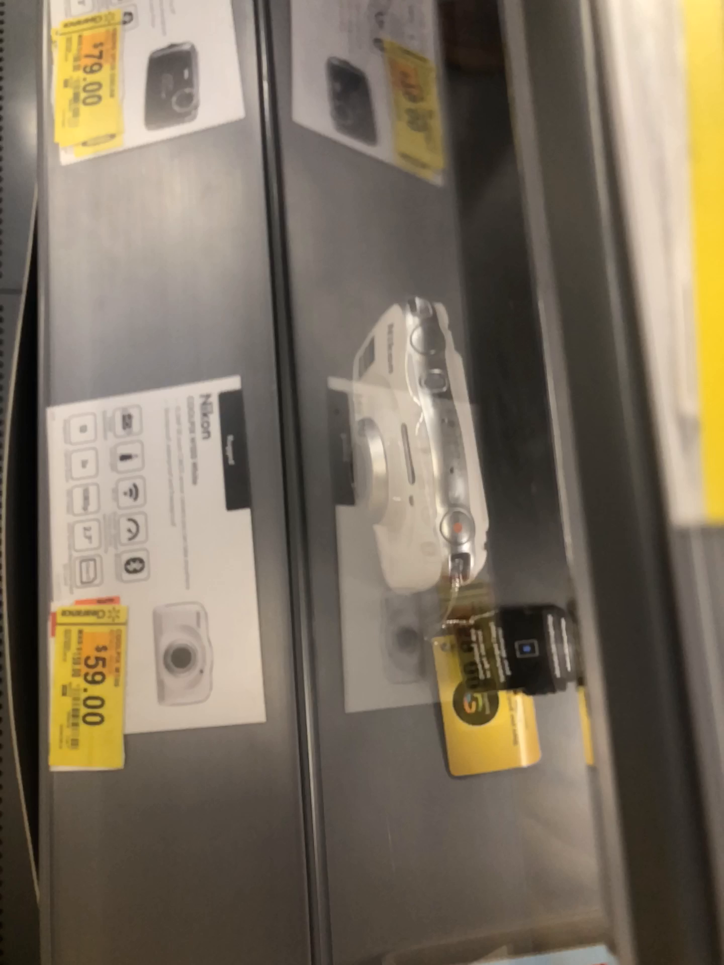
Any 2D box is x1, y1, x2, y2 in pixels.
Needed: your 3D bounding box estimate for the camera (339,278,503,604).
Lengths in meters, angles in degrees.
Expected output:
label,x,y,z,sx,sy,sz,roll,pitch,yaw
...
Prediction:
label,x,y,z,sx,sy,sz,roll,pitch,yaw
camera,0.019,-0.013,0.307,0.030,0.060,0.110,-5,80,-14
